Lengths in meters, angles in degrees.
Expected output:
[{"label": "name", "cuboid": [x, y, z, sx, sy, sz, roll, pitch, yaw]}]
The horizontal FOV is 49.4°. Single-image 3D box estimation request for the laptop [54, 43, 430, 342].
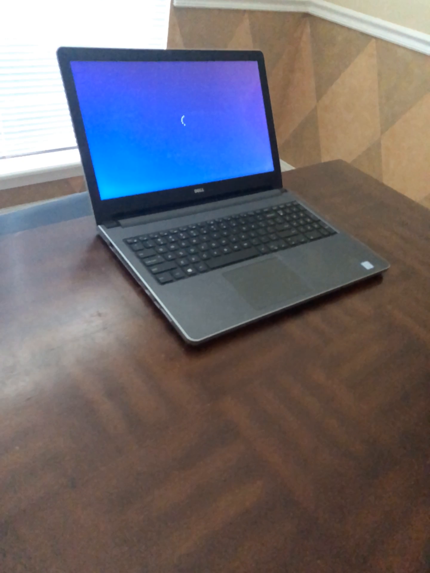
[{"label": "laptop", "cuboid": [0.030, -0.177, 0.672, 0.367, 0.198, 0.393, -18, 48, -33]}]
